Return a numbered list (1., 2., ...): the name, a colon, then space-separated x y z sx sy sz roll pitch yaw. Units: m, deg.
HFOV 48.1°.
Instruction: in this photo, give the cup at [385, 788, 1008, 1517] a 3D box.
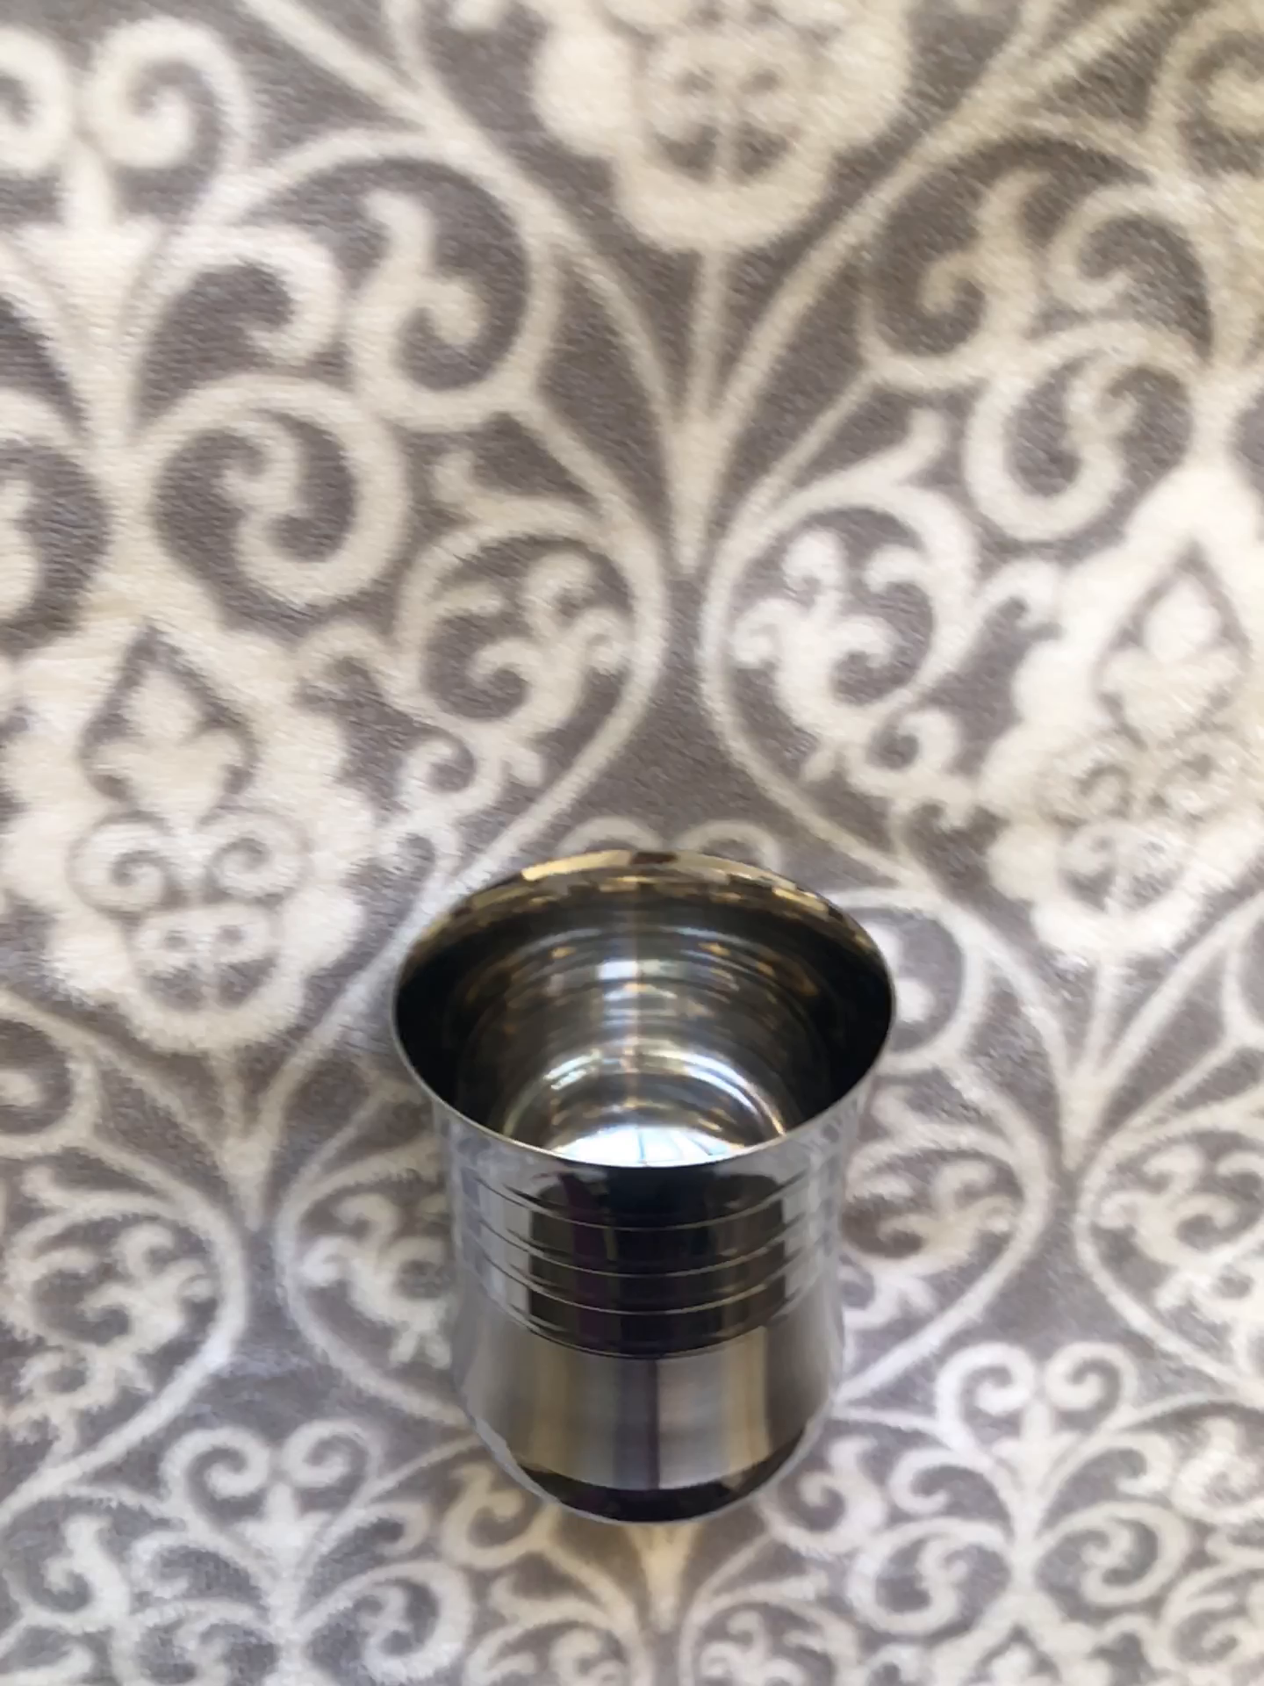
1. cup: 0.007 0.046 0.224 0.077 0.066 0.087 -2 117 -3
